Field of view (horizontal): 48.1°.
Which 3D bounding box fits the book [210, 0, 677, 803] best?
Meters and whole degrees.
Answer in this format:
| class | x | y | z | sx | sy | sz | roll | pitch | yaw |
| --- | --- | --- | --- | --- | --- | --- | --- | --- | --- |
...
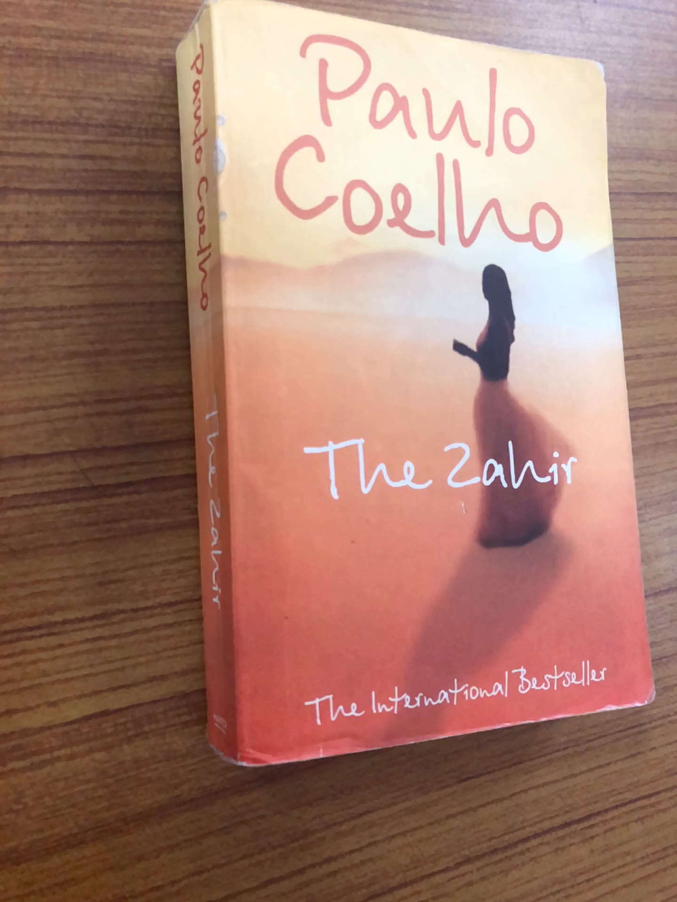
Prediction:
| class | x | y | z | sx | sy | sz | roll | pitch | yaw |
| --- | --- | --- | --- | --- | --- | --- | --- | --- | --- |
| book | 0.031 | -0.018 | 0.197 | 0.120 | 0.040 | 0.180 | 2 | 83 | -22 |
